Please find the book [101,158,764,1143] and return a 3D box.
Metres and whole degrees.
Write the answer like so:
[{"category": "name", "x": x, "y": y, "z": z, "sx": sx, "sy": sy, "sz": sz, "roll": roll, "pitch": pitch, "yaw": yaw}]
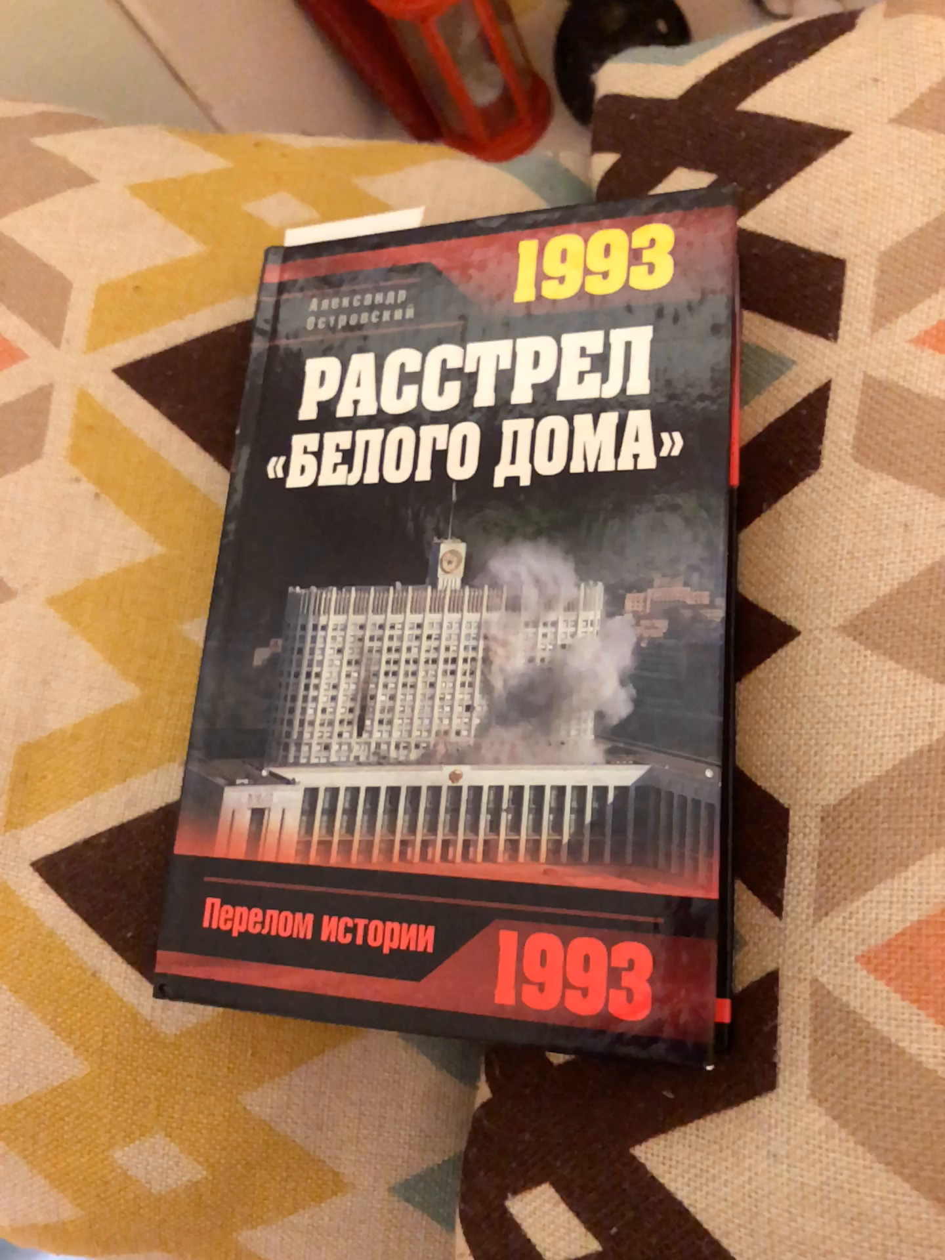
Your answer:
[{"category": "book", "x": -0.005, "y": -0.004, "z": 0.256, "sx": 0.140, "sy": 0.030, "sz": 0.210, "roll": -1, "pitch": 74, "yaw": 21}]
